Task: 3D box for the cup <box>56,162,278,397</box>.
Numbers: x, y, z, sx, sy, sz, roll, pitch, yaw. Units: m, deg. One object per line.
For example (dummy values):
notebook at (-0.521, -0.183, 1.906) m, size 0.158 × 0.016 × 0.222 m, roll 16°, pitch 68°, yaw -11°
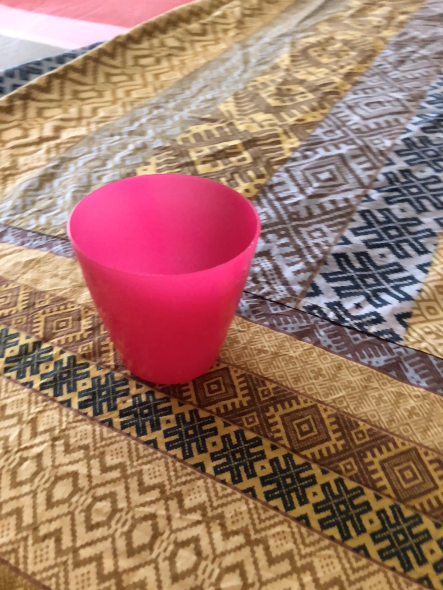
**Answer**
cup at (-0.023, -0.009, 0.226) m, size 0.078 × 0.067 × 0.078 m, roll 0°, pitch 44°, yaw 0°
